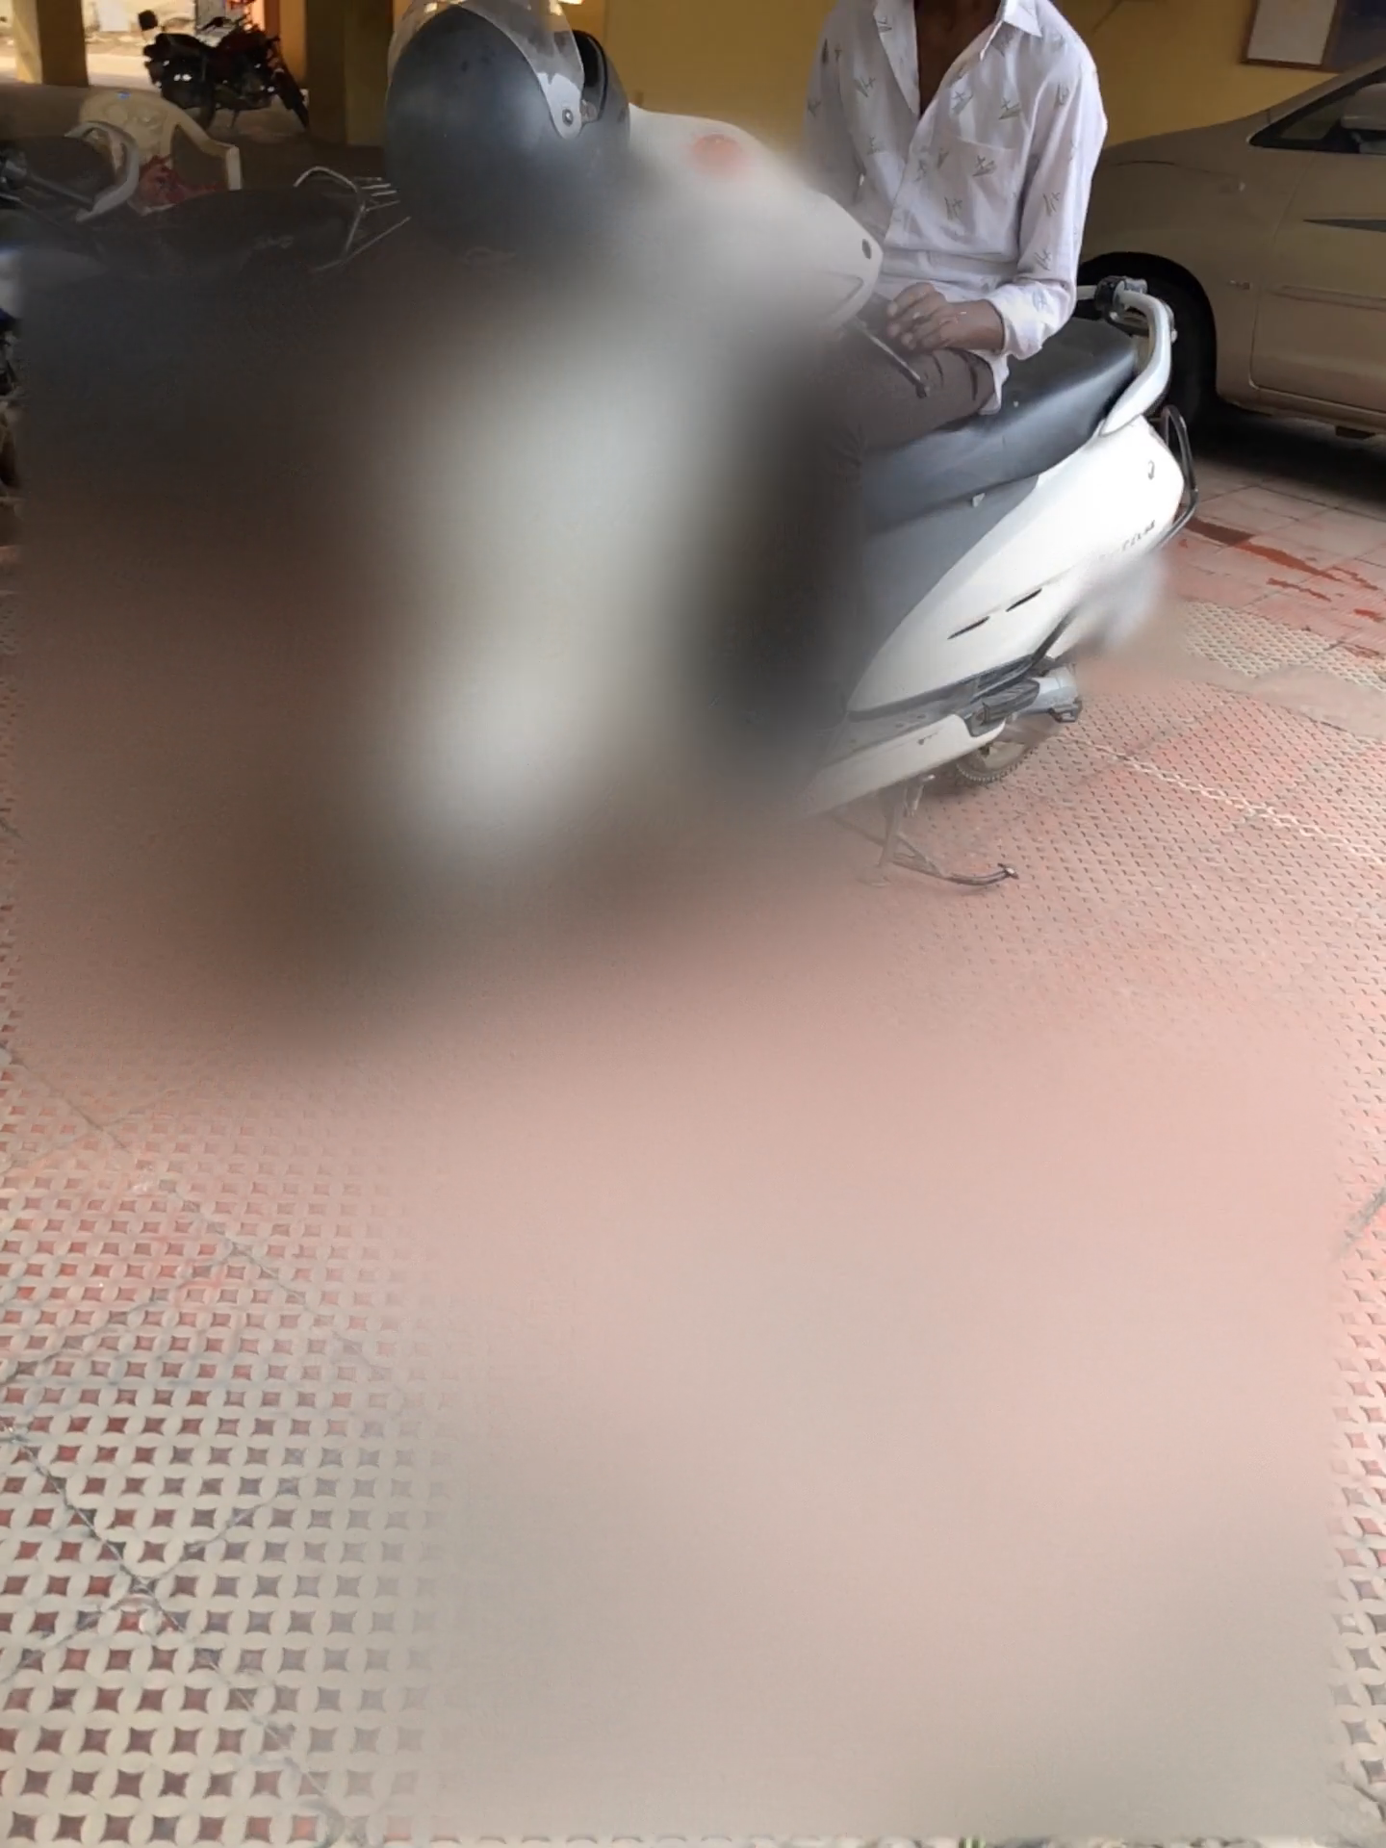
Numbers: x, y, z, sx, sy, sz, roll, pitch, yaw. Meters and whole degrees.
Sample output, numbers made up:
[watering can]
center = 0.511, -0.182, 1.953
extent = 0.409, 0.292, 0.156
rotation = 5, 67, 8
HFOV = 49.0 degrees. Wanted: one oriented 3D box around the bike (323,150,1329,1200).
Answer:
[bike]
center = 0.219, -0.507, 2.338
extent = 0.657, 1.107, 1.397
rotation = 28, 38, 33
